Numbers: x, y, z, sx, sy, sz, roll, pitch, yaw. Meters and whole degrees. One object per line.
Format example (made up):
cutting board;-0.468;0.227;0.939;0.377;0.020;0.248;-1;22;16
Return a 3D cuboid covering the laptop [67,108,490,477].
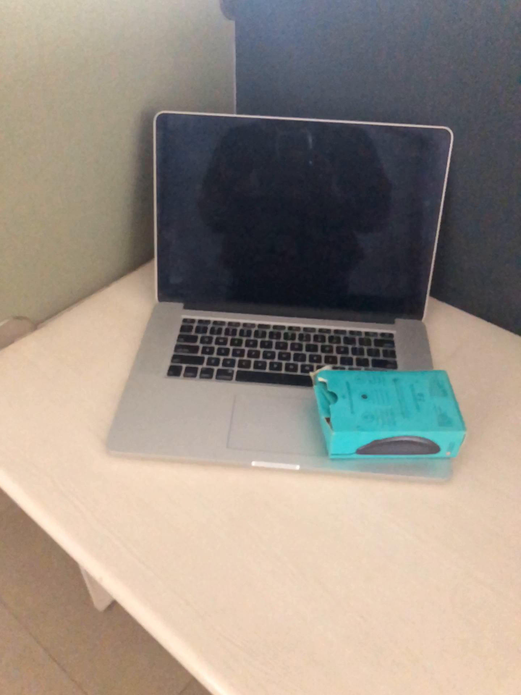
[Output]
laptop;0.024;-0.081;0.634;0.328;0.200;0.340;5;44;4
